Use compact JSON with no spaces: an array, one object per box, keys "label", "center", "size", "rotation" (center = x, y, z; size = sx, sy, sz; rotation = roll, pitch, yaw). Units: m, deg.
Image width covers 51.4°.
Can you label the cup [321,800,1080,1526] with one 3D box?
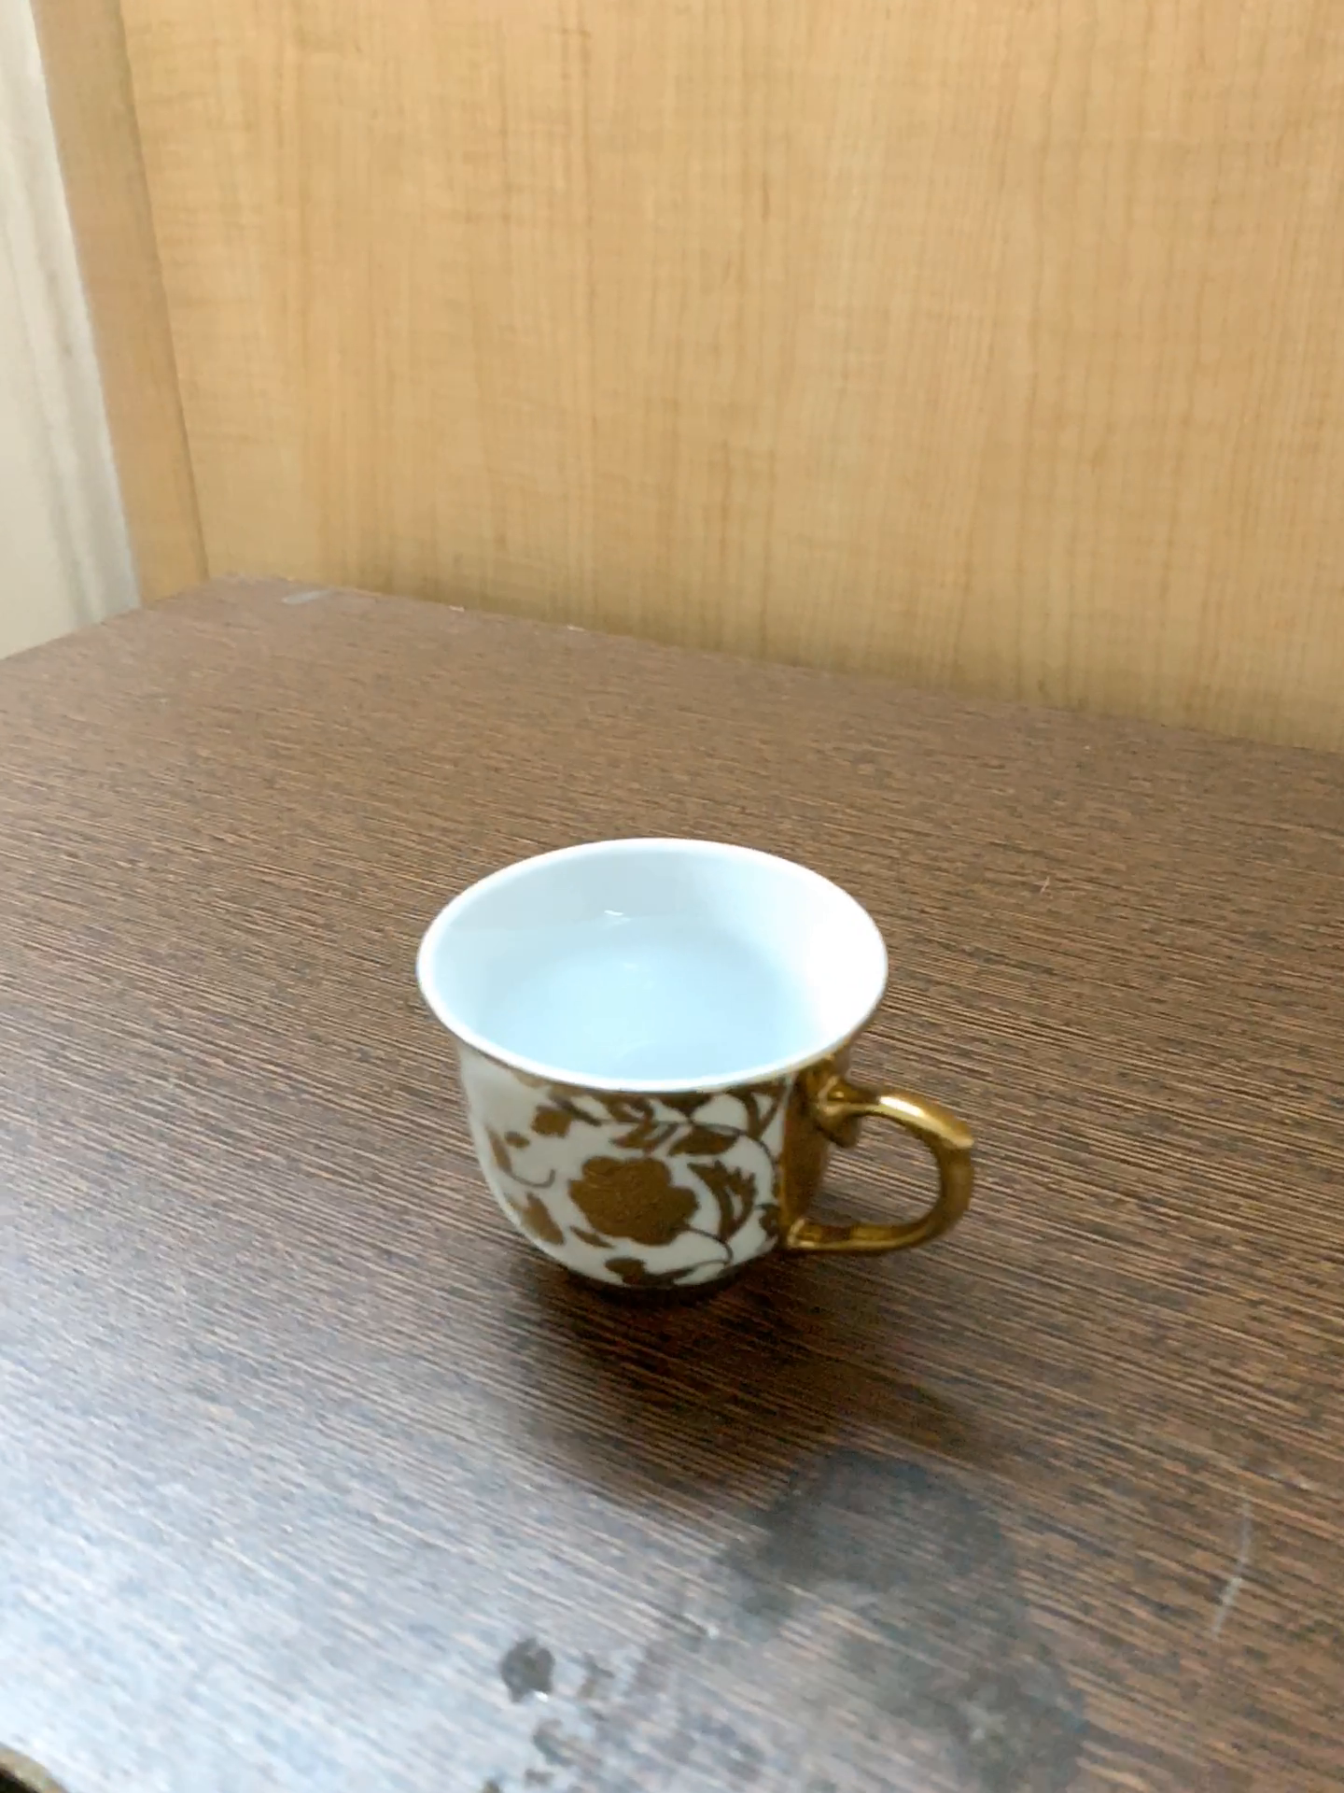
[{"label":"cup","center":[0.006,0.030,0.204],"size":[0.080,0.050,0.070],"rotation":[17,33,28]}]

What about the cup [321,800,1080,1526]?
[{"label":"cup","center":[0.006,0.030,0.204],"size":[0.080,0.050,0.070],"rotation":[17,33,28]}]
